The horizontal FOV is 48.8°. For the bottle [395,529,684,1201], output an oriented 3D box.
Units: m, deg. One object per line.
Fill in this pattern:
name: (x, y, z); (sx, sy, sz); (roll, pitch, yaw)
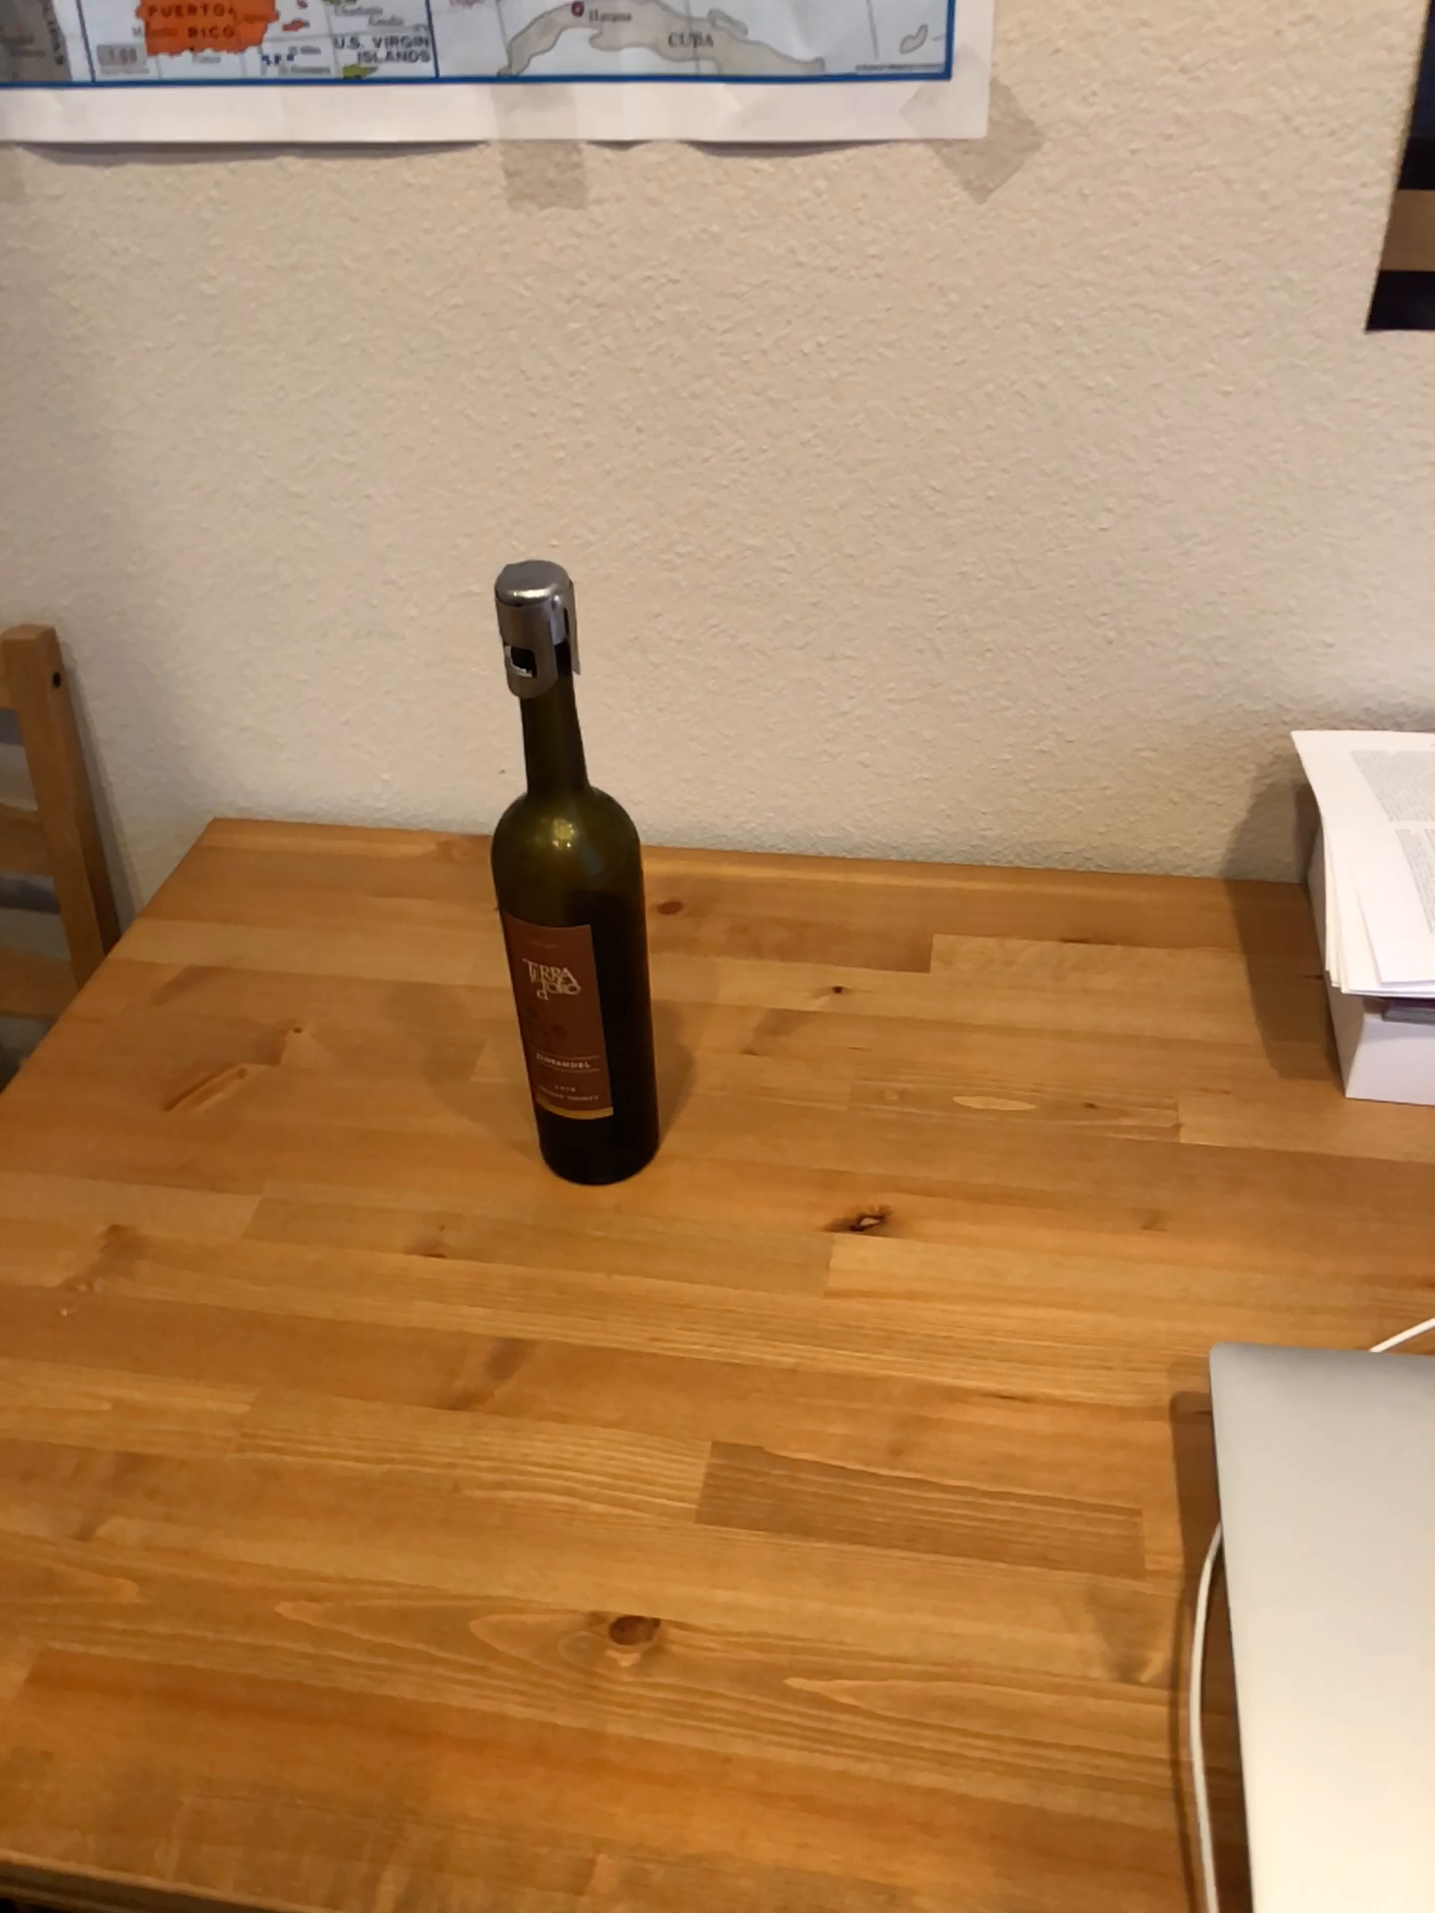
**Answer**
bottle: (-0.081, -0.034, 0.815); (0.080, 0.348, 0.080); (-2, 37, 2)
